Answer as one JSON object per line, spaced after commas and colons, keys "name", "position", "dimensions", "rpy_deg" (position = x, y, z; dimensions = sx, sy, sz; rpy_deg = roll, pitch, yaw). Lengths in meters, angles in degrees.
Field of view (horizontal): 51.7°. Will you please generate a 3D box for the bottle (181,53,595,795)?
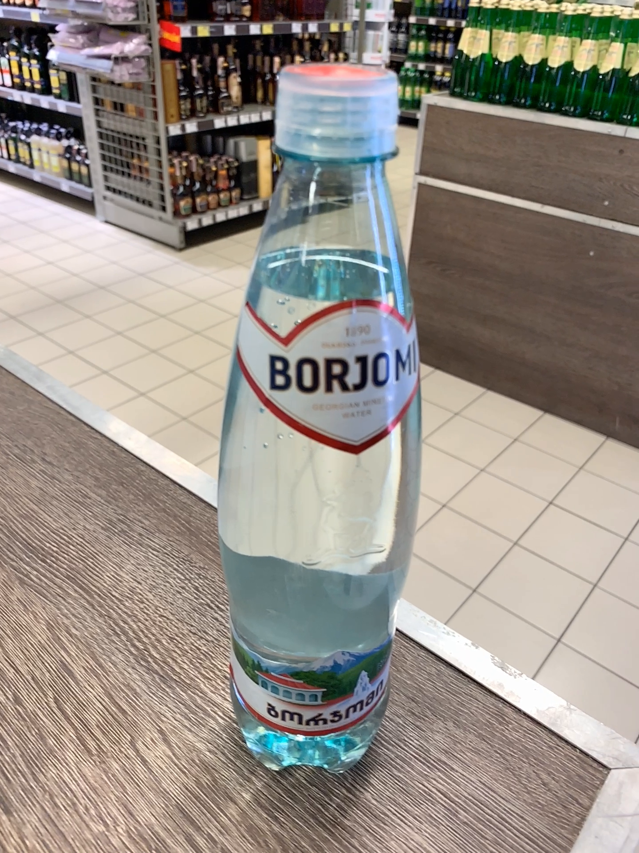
{"name": "bottle", "position": [0.004, 0.018, 0.218], "dimensions": [0.080, 0.239, 0.070], "rpy_deg": [-4, 34, -10]}
